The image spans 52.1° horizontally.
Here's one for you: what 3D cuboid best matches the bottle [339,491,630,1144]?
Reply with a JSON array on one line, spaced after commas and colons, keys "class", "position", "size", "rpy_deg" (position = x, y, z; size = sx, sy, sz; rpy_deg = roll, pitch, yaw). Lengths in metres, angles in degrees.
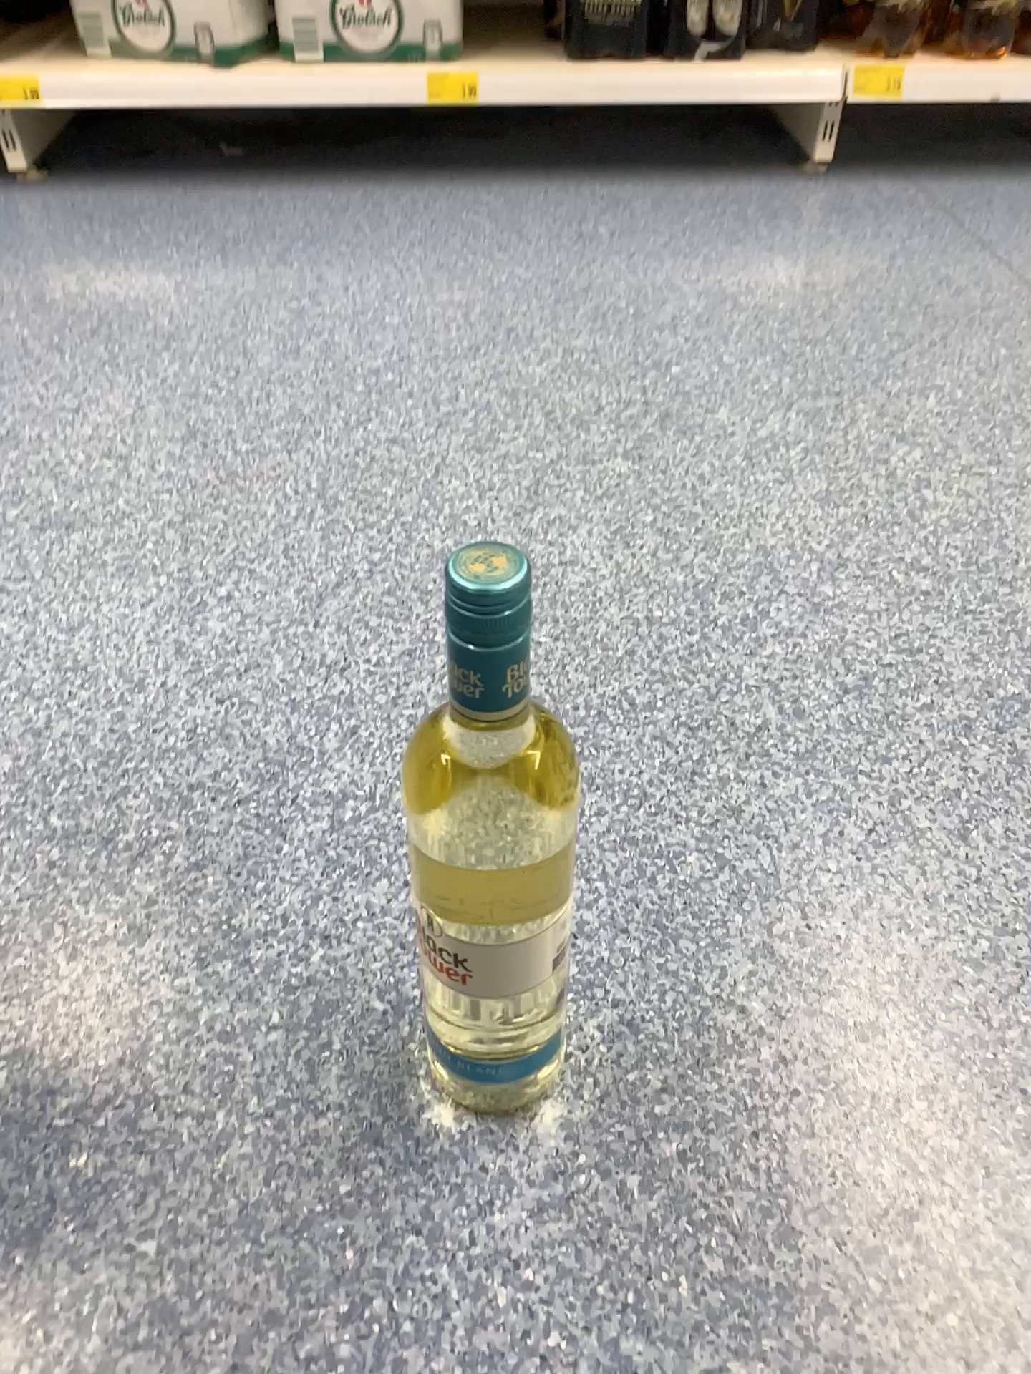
[{"class": "bottle", "position": [-0.011, 0.075, 0.448], "size": [0.065, 0.305, 0.071], "rpy_deg": [0, 41, 0]}]
